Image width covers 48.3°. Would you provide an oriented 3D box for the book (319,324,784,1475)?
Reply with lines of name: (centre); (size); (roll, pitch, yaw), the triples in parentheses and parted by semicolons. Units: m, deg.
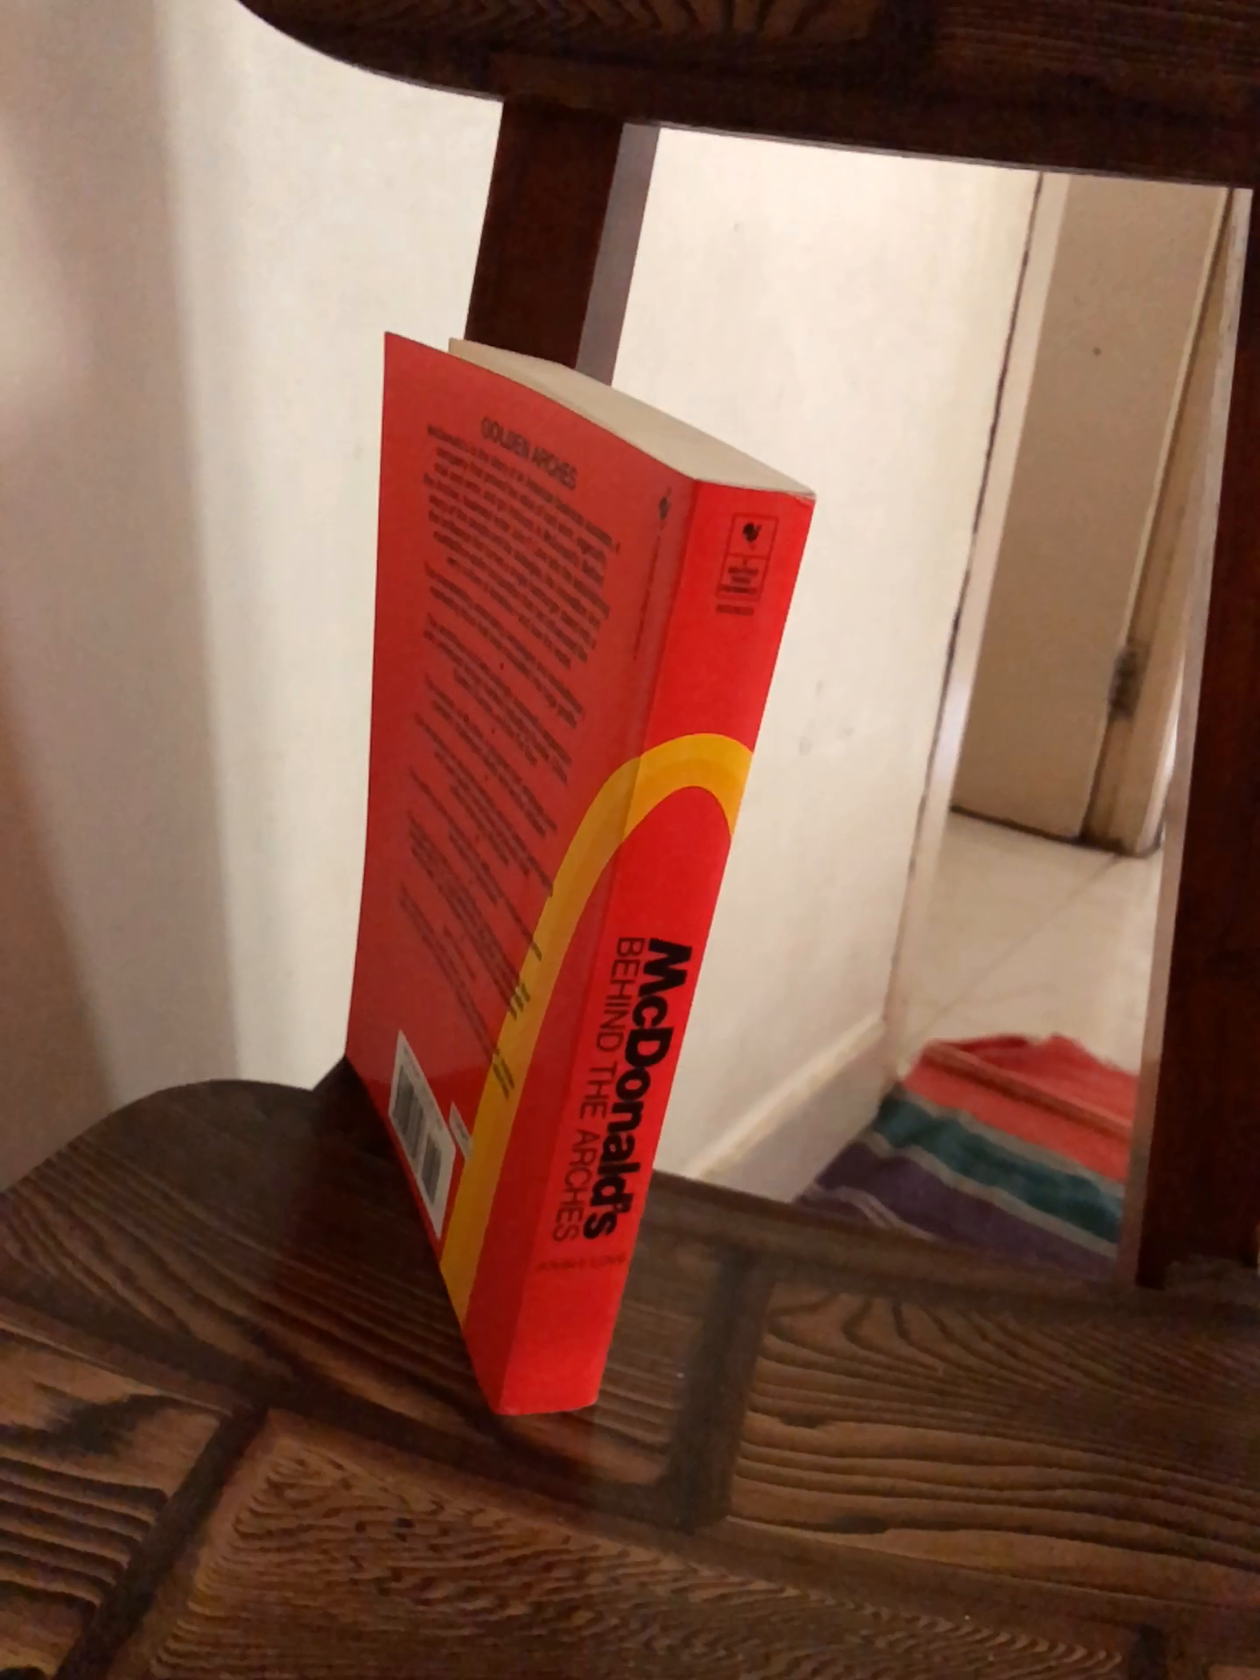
book: (-0.040, -0.001, 0.372); (0.040, 0.239, 0.191); (0, 22, -22)
